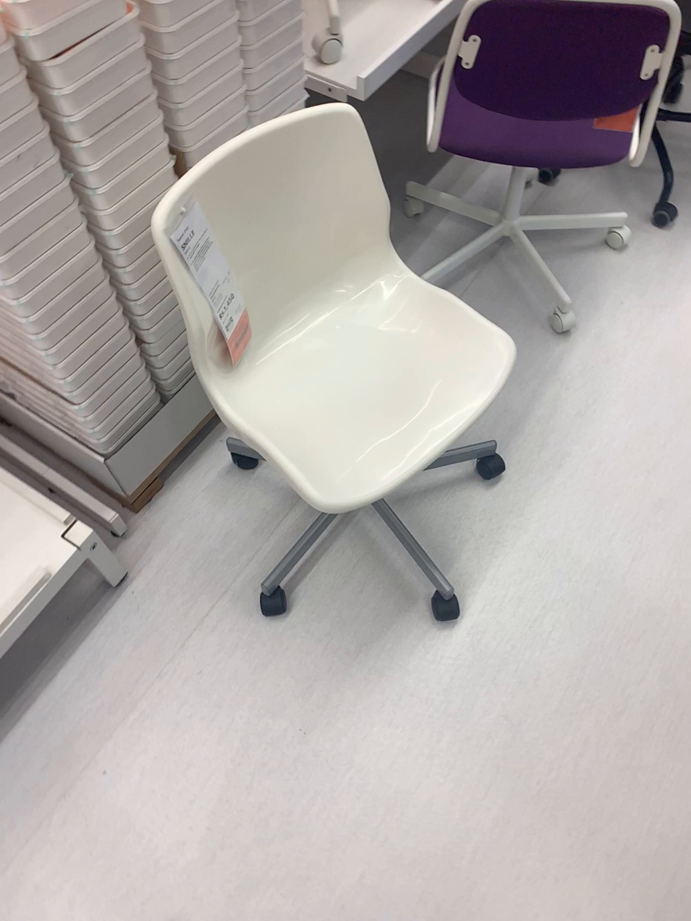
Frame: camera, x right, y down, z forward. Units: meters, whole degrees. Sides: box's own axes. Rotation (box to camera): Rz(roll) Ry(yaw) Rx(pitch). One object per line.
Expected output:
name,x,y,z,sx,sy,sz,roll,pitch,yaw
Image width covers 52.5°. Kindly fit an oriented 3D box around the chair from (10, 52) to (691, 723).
chair,0.030,-0.099,1.215,0.681,0.689,0.640,39,68,22
